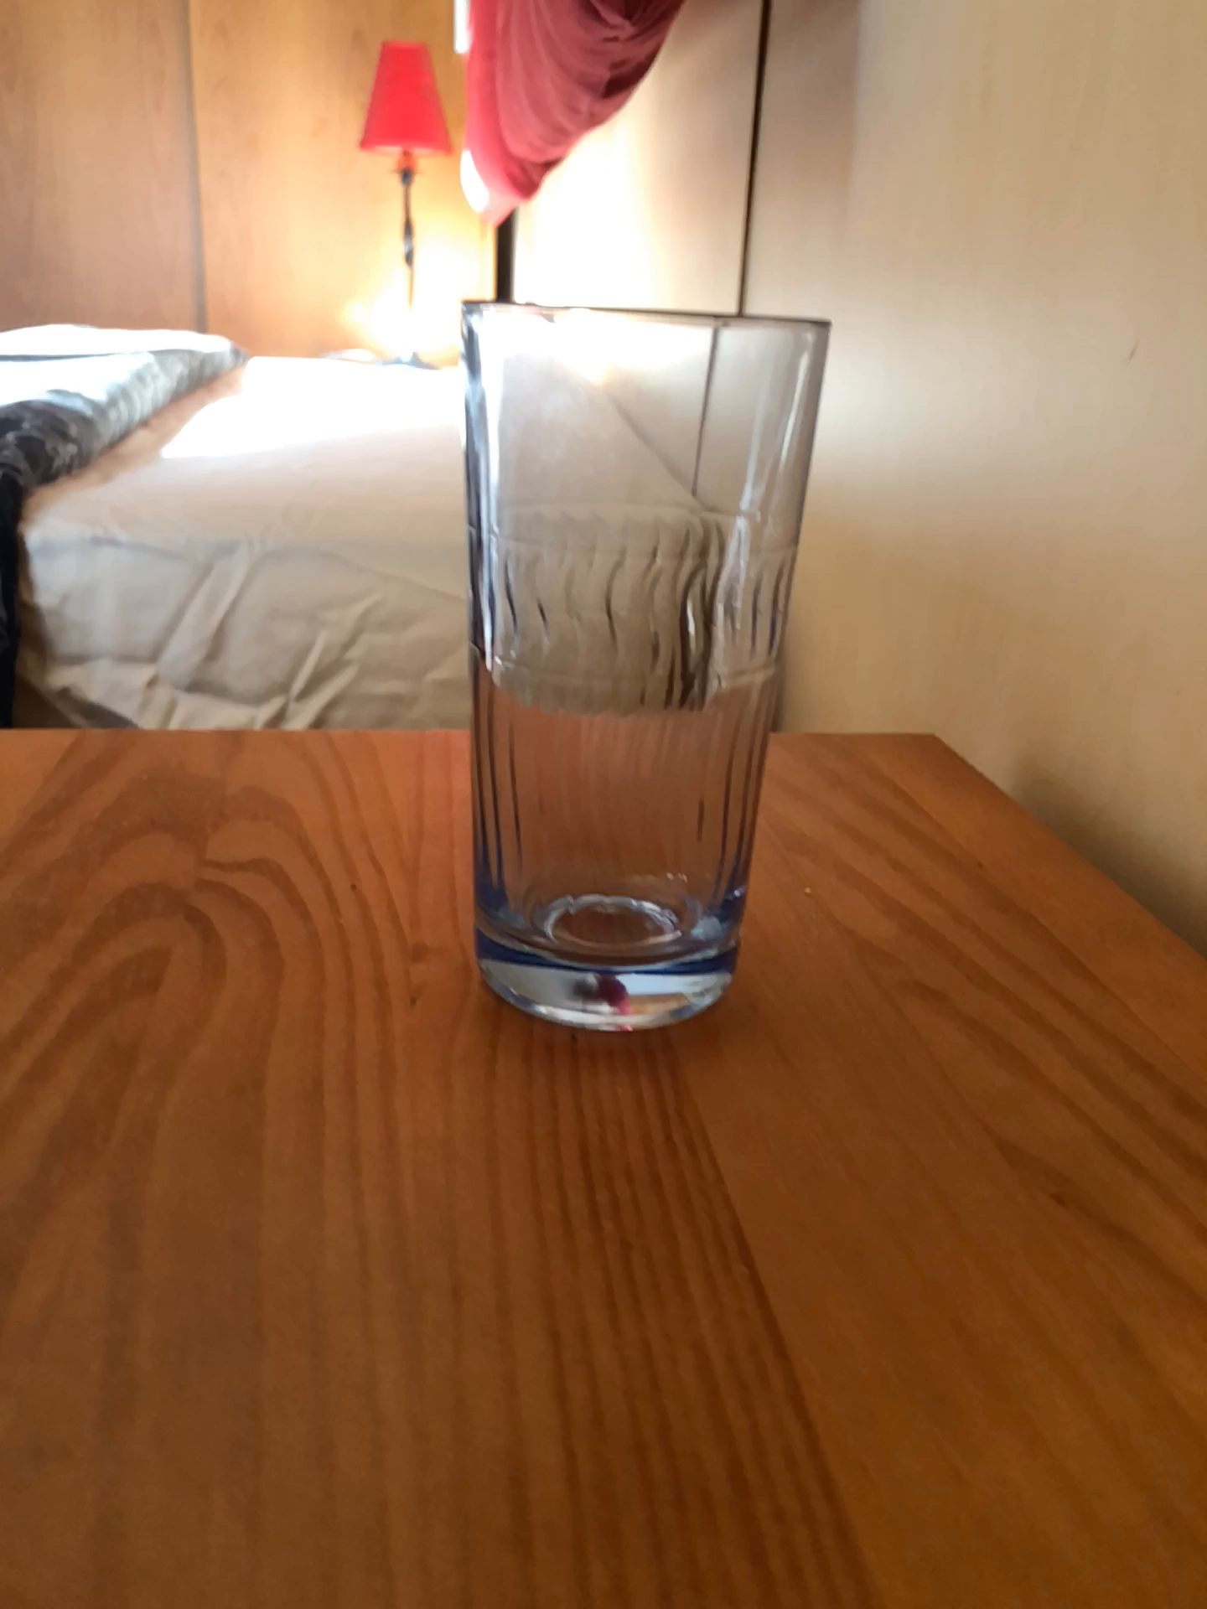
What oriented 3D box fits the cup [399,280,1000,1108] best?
[{"bbox_3d":[0.012,-0.027,0.252,0.076,0.129,0.070,3,20,-1],"label":"cup"}]
